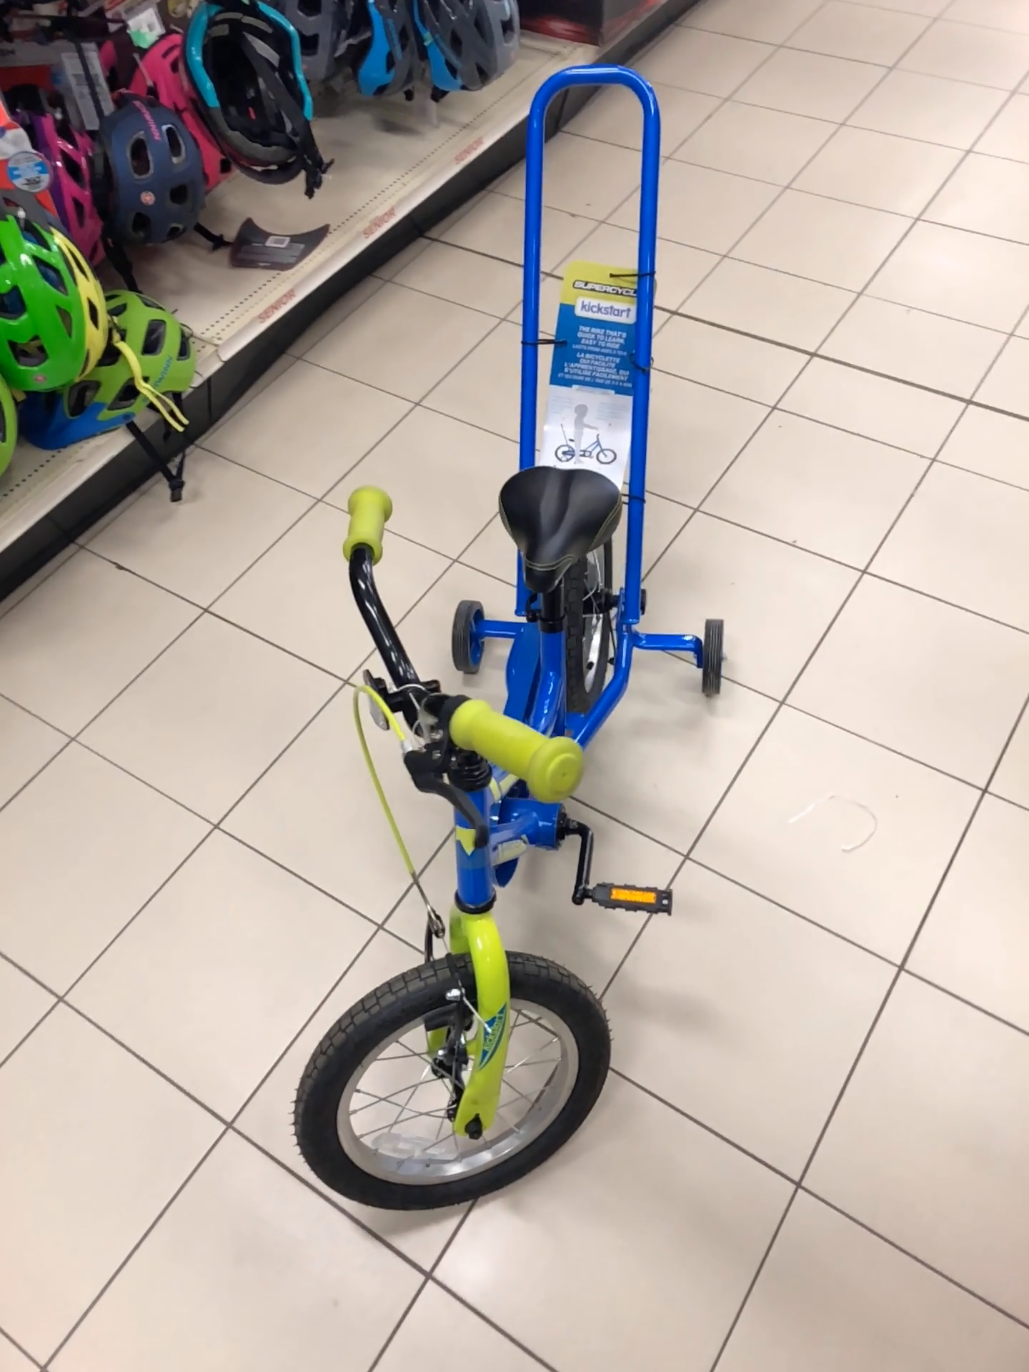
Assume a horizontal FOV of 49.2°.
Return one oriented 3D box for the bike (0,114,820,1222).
[{"bbox_3d":[-0.097,-0.035,1.249,0.539,0.763,0.955,14,54,15],"label":"bike"}]
